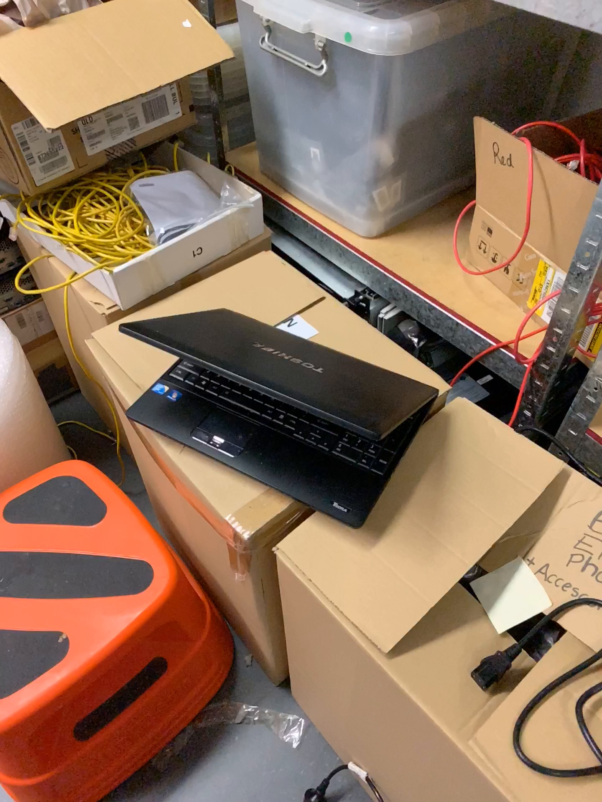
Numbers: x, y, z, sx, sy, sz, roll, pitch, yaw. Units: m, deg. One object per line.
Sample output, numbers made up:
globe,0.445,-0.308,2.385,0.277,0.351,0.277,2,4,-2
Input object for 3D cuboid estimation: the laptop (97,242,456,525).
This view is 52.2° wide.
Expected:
laptop,-0.028,-0.037,0.796,0.355,0.135,0.231,23,55,19
